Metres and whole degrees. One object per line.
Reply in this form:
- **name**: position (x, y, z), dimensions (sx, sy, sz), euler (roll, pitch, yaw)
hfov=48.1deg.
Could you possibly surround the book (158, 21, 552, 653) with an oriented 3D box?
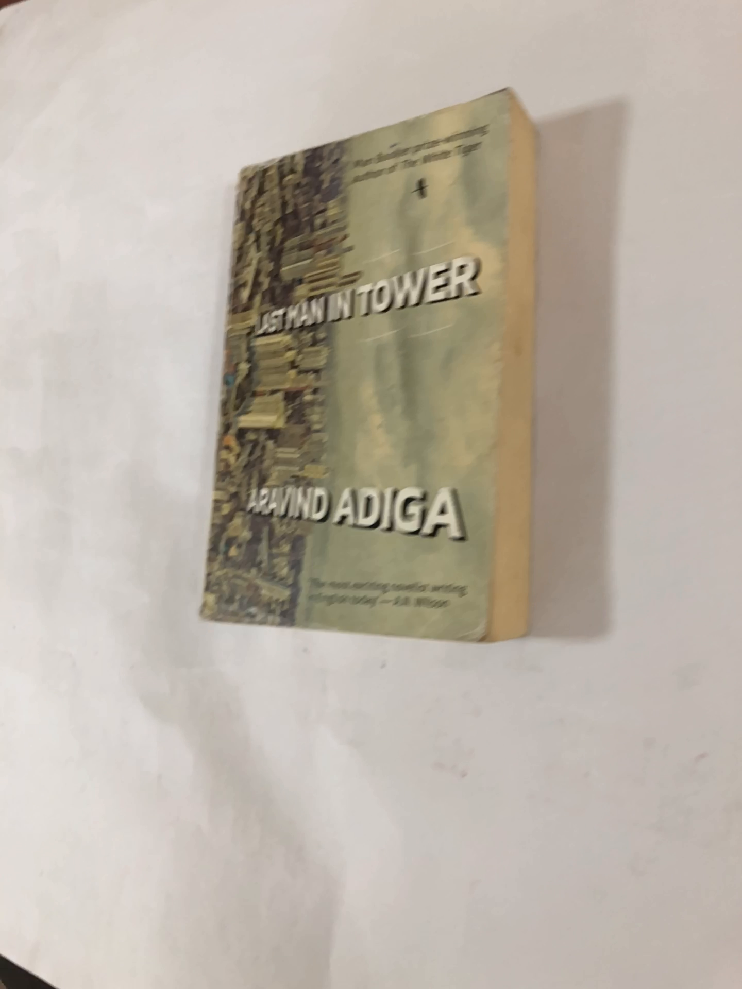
- **book**: position (-0.008, -0.054, 0.327), dimensions (0.151, 0.030, 0.220), euler (-3, 78, 31)
